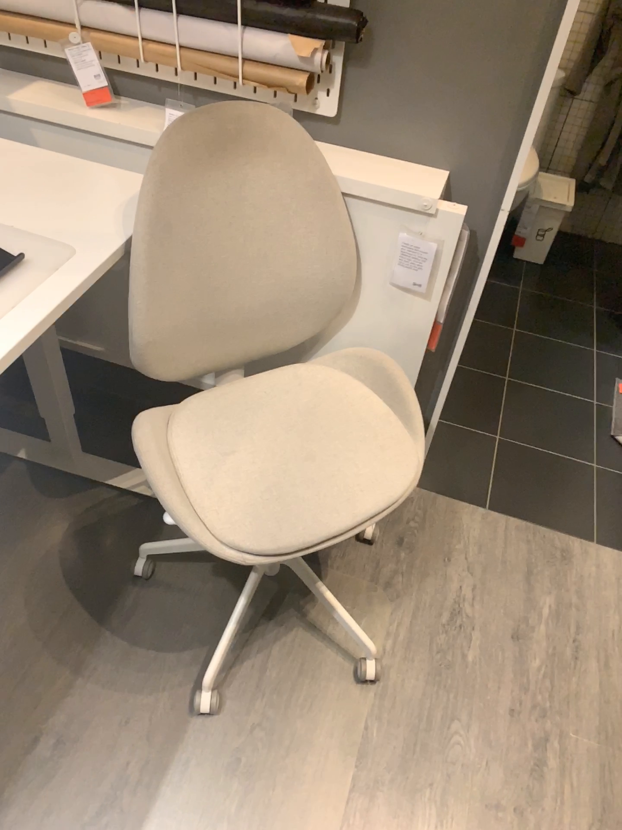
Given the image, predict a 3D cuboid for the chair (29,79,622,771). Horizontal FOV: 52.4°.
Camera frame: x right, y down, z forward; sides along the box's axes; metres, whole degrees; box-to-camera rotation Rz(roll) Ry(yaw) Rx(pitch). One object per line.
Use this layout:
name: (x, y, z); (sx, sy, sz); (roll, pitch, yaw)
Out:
chair: (-0.024, 0.041, 1.089); (0.610, 0.937, 0.592); (-13, 48, -20)
